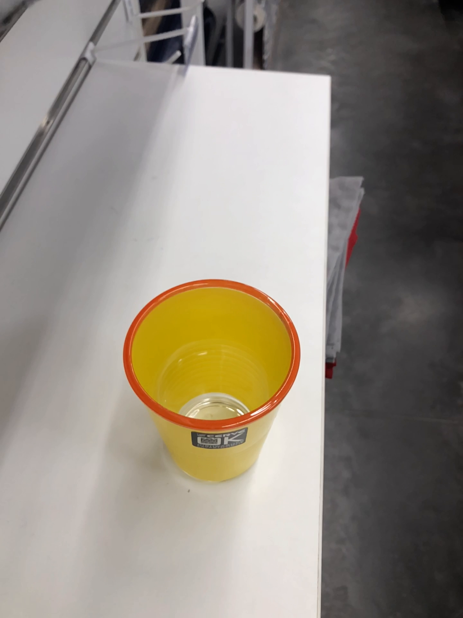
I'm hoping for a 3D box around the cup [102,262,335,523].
[{"bbox_3d":[-0.010,0.045,0.266,0.088,0.094,0.084,0,53,0],"label":"cup"}]
